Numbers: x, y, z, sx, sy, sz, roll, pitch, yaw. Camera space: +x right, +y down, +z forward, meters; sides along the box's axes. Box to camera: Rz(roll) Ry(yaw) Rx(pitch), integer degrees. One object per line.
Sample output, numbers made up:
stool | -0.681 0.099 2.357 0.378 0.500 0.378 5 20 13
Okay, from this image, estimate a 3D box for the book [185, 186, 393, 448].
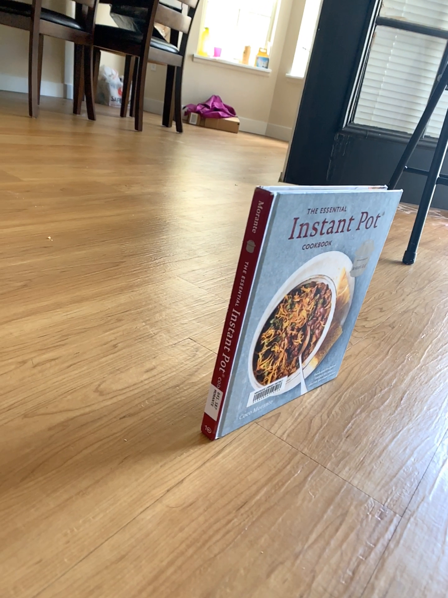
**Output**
book | 0.074 0.007 0.477 0.231 0.239 0.030 -13 32 -44
